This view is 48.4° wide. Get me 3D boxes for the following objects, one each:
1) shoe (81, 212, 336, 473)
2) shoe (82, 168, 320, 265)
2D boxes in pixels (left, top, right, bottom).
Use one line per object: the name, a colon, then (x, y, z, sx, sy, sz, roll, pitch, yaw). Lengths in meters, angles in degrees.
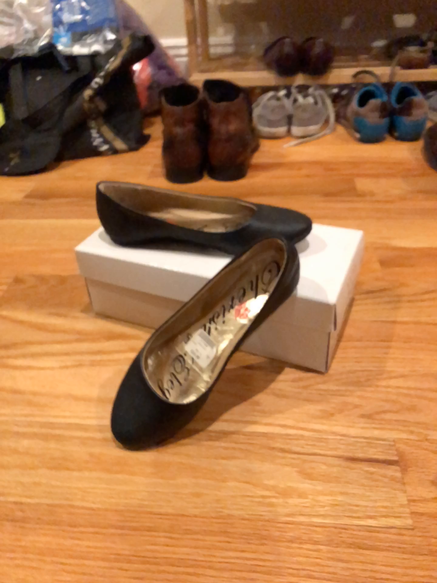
shoe: (-0.008, 0.049, 0.444, 0.239, 0.060, 0.076, -47, 62, 2)
shoe: (-0.016, -0.086, 0.530, 0.239, 0.060, 0.076, 6, 37, 13)
